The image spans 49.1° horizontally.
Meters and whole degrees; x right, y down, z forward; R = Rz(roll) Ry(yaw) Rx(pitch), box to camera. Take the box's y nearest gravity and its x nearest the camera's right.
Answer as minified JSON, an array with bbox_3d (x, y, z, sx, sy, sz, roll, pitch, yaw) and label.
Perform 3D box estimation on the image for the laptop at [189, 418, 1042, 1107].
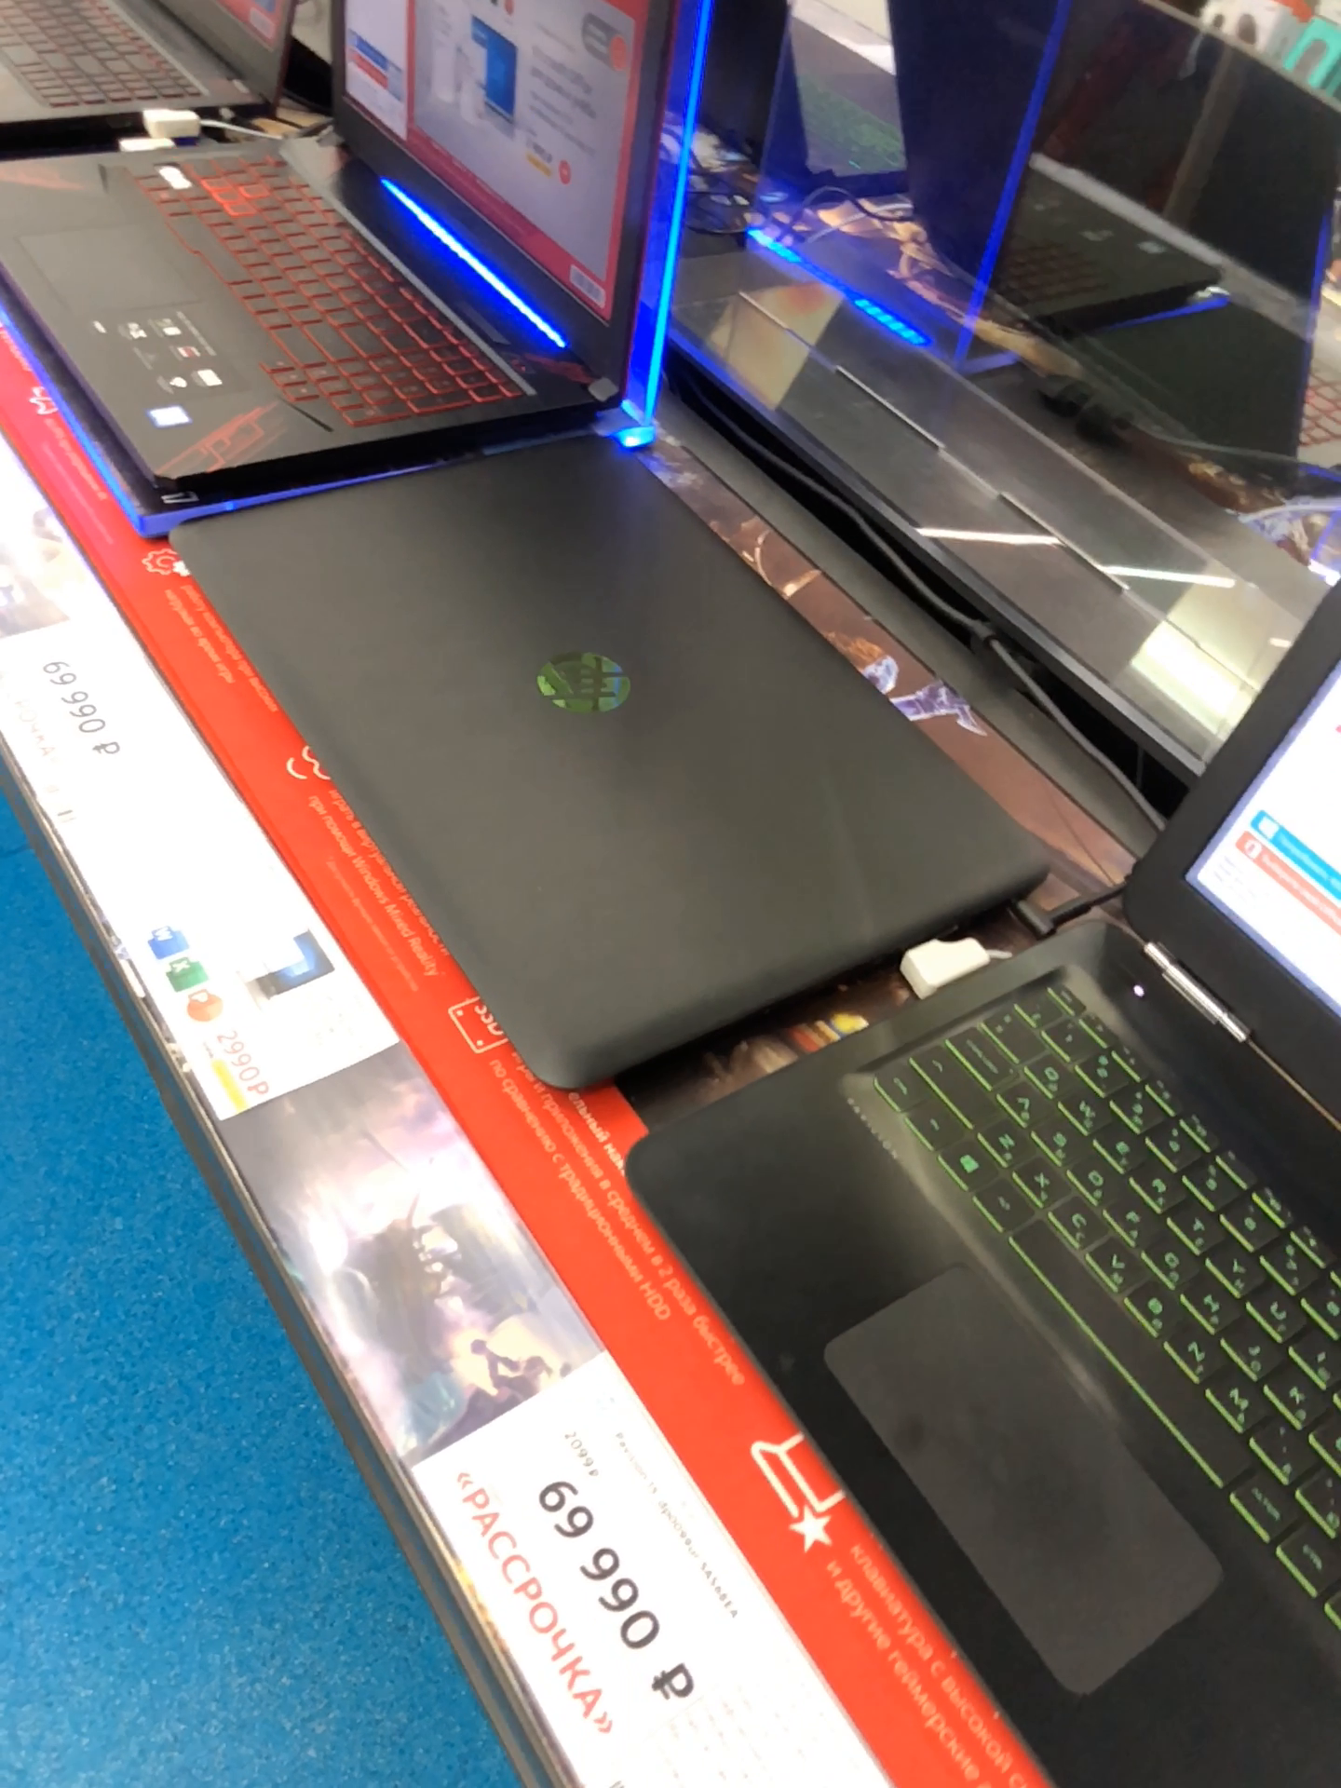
[{"bbox_3d":[-0.038,-0.092,0.662,0.233,0.012,0.366,-21,55,-25],"label":"laptop"}]
